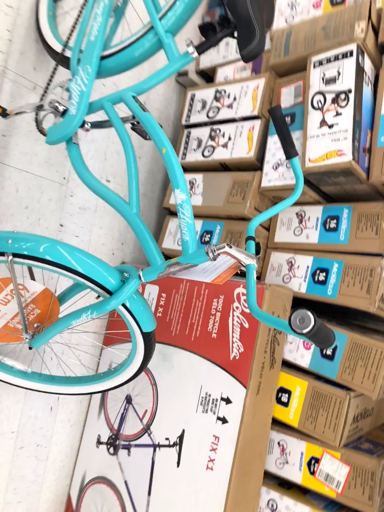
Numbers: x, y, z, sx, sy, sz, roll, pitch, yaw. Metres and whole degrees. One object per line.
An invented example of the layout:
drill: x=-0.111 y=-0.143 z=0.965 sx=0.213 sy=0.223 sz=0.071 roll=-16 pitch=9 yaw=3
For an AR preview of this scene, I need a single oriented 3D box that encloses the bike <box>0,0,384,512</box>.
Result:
bike: x=-0.011 y=-0.389 z=1.141 sx=0.855 sy=1.153 sz=1.581 roll=2 pitch=92 yaw=-52
